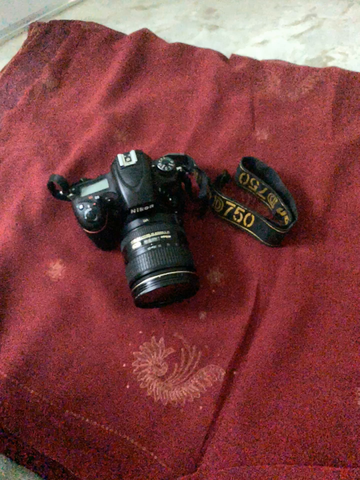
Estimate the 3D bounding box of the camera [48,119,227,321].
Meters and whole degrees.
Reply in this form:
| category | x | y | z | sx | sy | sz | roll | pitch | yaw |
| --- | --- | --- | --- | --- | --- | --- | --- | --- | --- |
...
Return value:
| category | x | y | z | sx | sy | sz | roll | pitch | yaw |
| --- | --- | --- | --- | --- | --- | --- | --- | --- | --- |
| camera | -0.045 | -0.018 | 0.419 | 0.150 | 0.110 | 0.160 | -16 | 64 | 1 |
